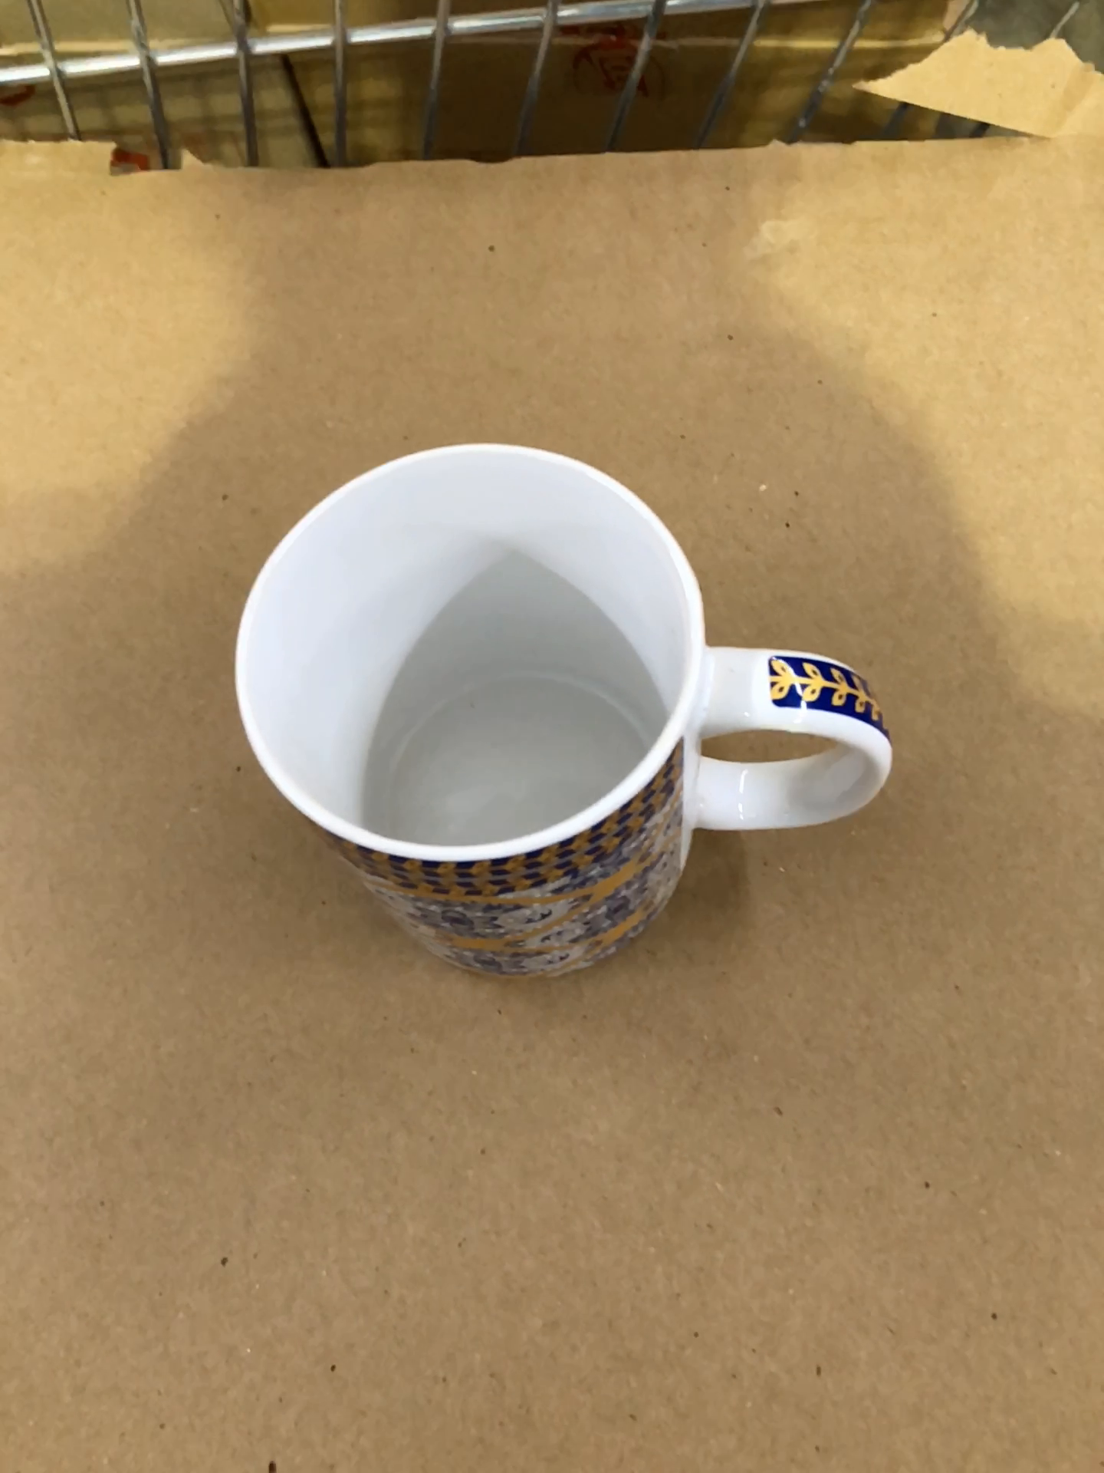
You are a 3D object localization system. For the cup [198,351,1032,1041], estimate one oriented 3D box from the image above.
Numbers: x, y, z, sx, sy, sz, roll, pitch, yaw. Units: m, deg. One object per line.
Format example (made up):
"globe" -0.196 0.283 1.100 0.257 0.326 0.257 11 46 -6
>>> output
"cup" 0.009 0.000 0.238 0.120 0.100 0.080 -8 63 2
